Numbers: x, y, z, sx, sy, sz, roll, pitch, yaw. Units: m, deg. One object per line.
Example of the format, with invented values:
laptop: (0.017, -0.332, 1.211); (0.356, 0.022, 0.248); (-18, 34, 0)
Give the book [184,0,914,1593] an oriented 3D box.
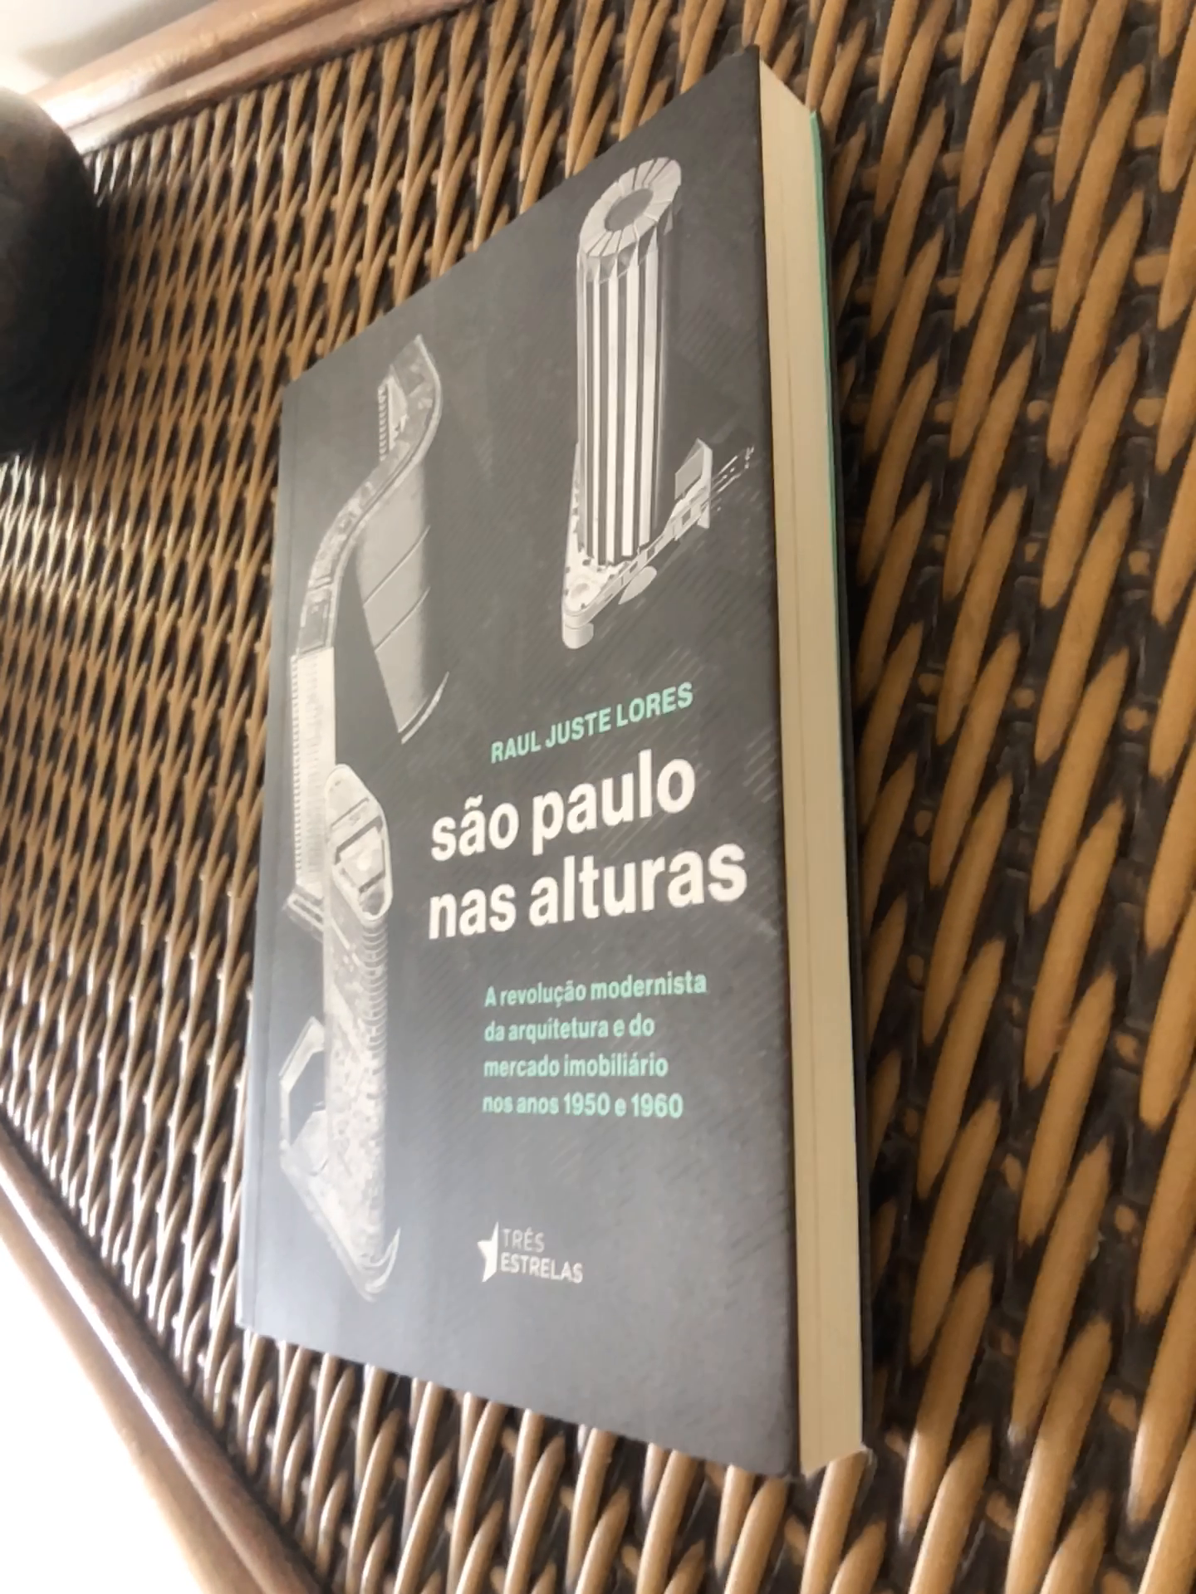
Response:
book: (-0.021, 0.000, 0.248); (0.161, 0.030, 0.221); (-7, 79, 46)
